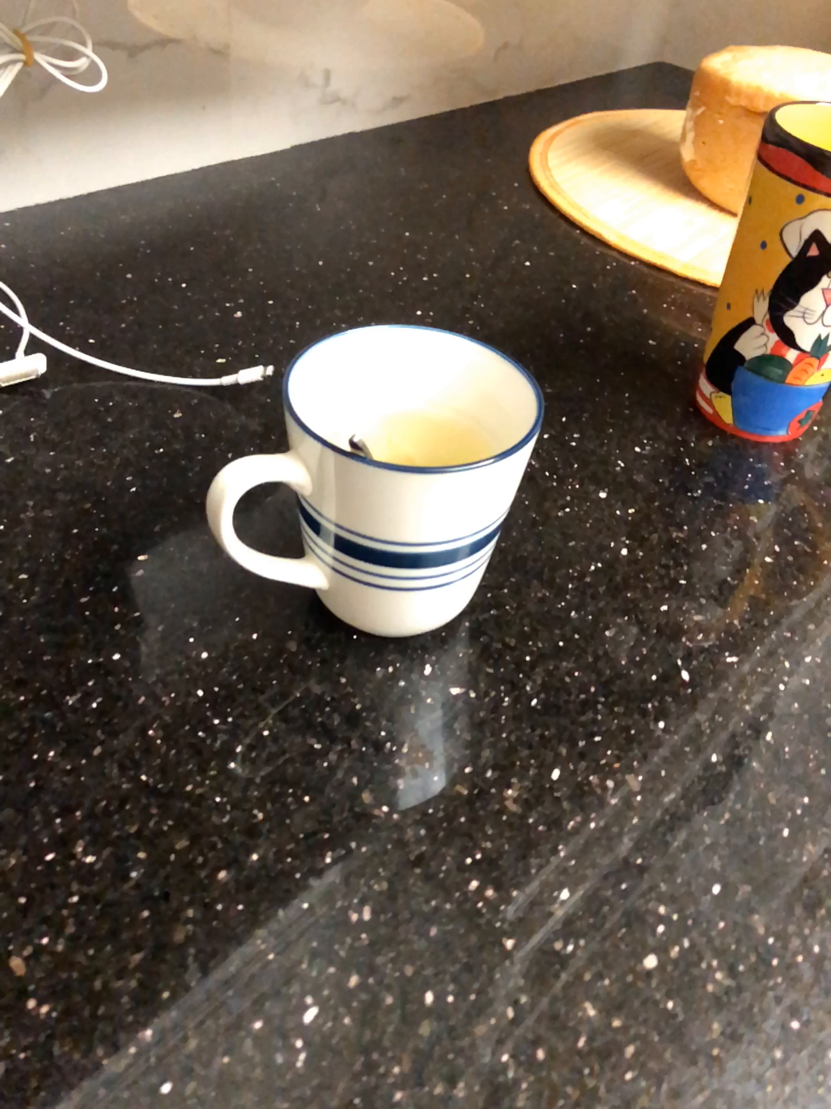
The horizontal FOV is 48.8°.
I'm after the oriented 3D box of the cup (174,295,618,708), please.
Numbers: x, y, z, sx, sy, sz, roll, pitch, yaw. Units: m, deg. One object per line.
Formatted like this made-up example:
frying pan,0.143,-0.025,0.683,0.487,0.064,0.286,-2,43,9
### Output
cup,-0.011,-0.023,0.325,0.120,0.089,0.080,-18,49,-25
